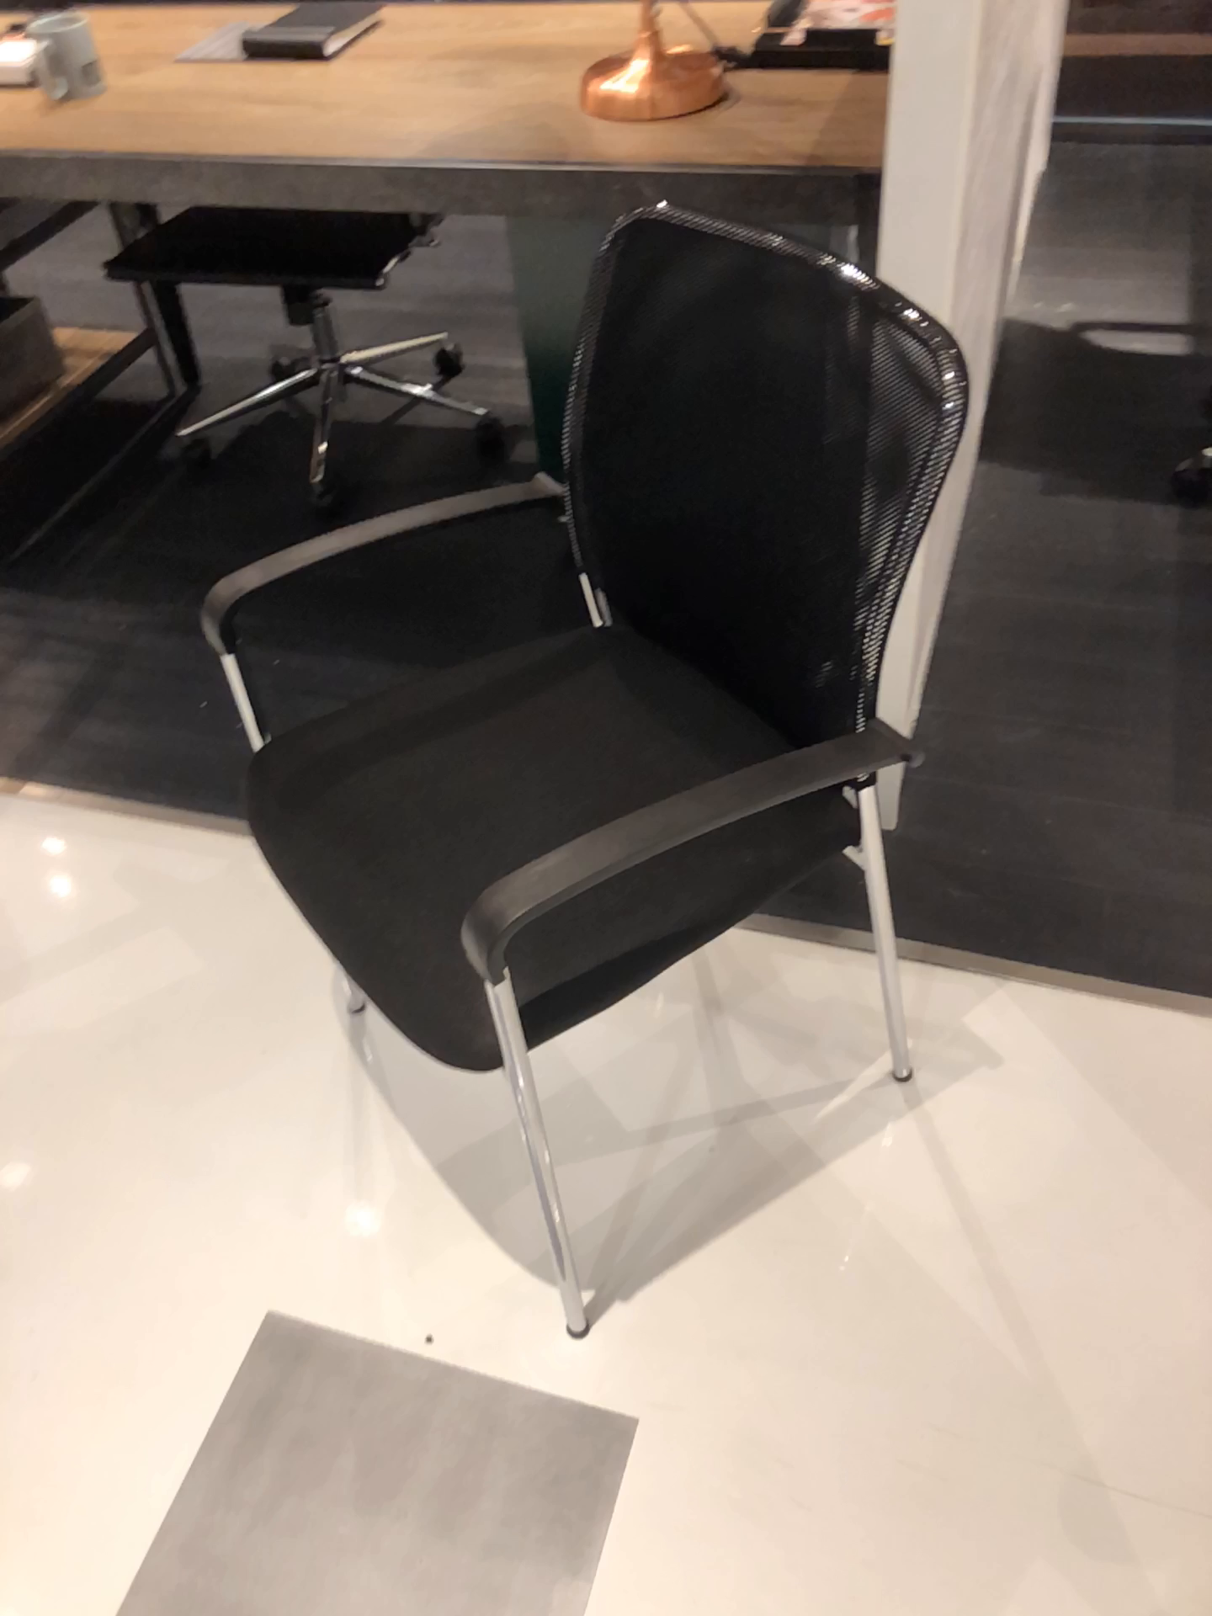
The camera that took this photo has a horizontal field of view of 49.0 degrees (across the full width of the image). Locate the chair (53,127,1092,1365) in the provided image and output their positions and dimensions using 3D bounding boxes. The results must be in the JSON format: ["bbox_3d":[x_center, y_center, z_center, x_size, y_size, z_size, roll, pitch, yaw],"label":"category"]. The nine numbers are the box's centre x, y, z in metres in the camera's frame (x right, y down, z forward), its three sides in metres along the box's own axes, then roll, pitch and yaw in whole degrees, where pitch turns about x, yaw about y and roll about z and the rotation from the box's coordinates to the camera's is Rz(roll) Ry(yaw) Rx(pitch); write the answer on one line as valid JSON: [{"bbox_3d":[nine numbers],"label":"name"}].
[{"bbox_3d":[-0.026,-0.049,1.256,0.511,0.864,0.593,-28,48,-21],"label":"chair"}]
